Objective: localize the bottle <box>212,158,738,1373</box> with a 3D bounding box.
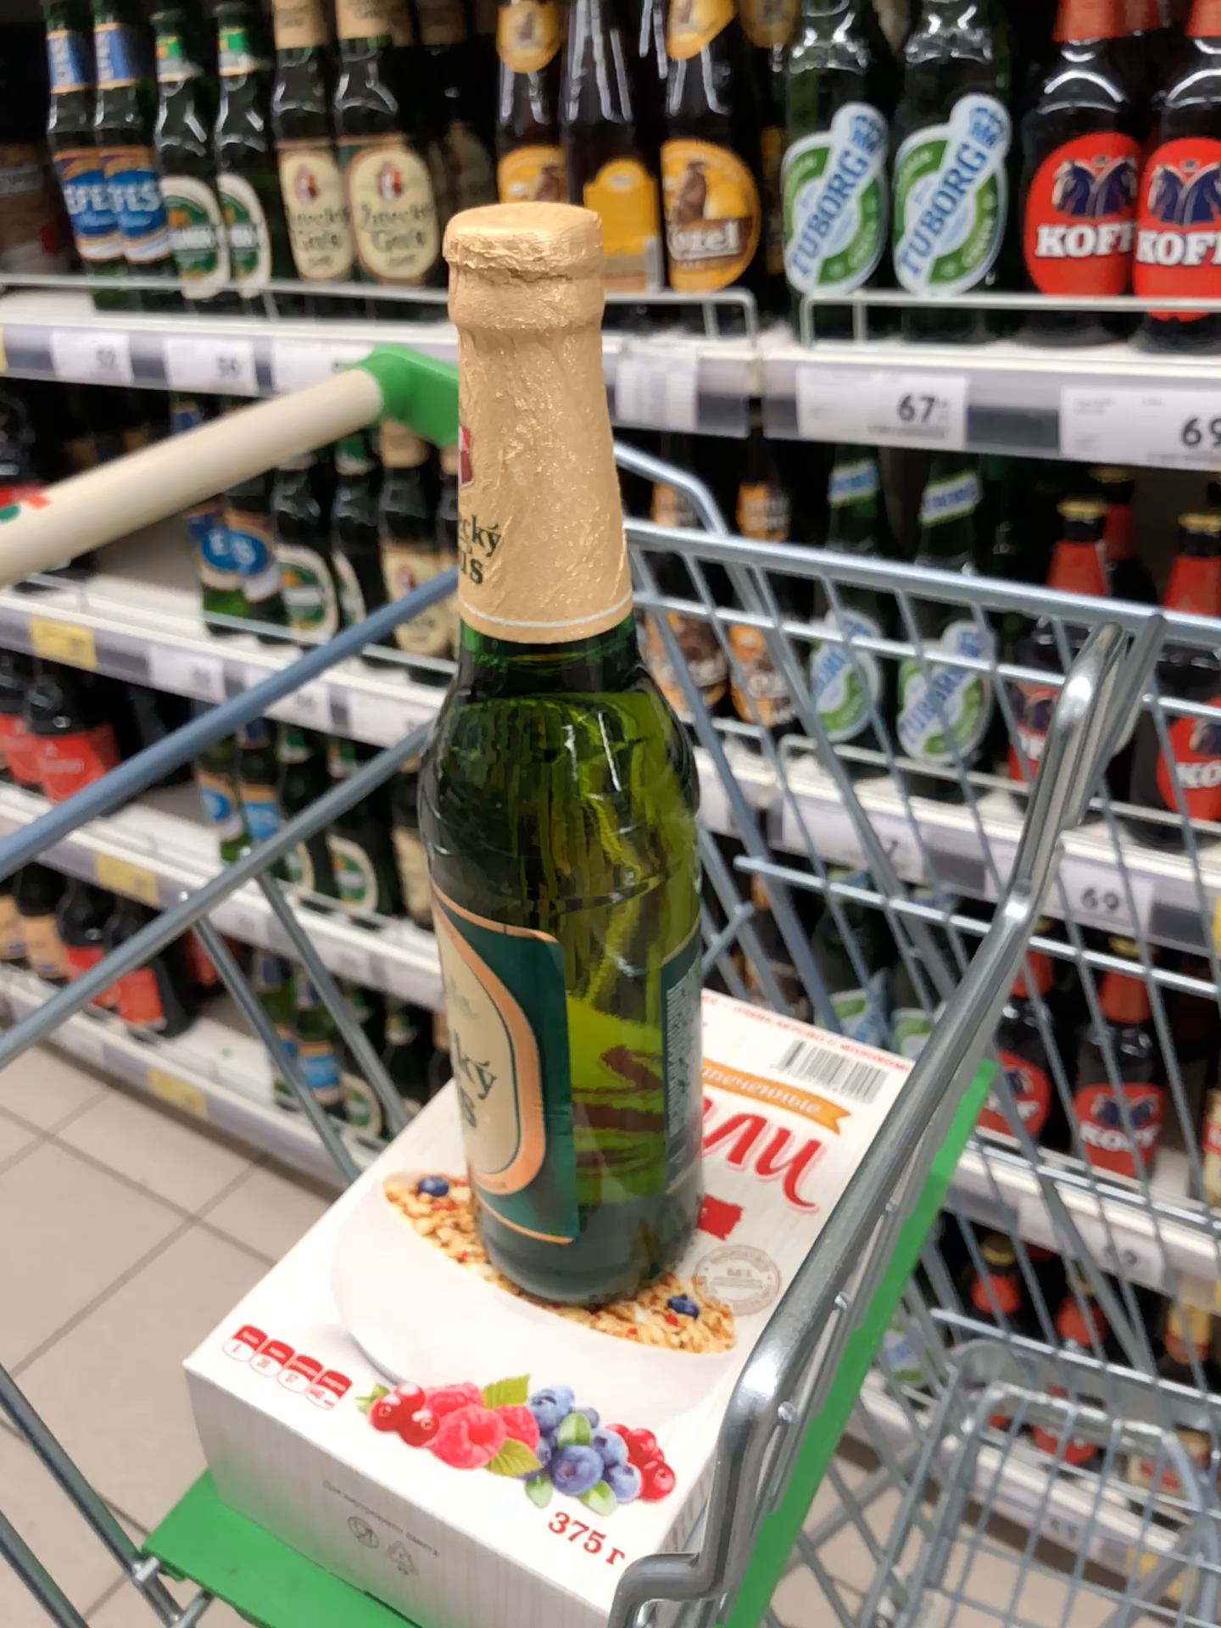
[{"bbox_3d":[-0.014,0.004,0.314,0.070,0.268,0.080,-4,30,4],"label":"bottle"}]
